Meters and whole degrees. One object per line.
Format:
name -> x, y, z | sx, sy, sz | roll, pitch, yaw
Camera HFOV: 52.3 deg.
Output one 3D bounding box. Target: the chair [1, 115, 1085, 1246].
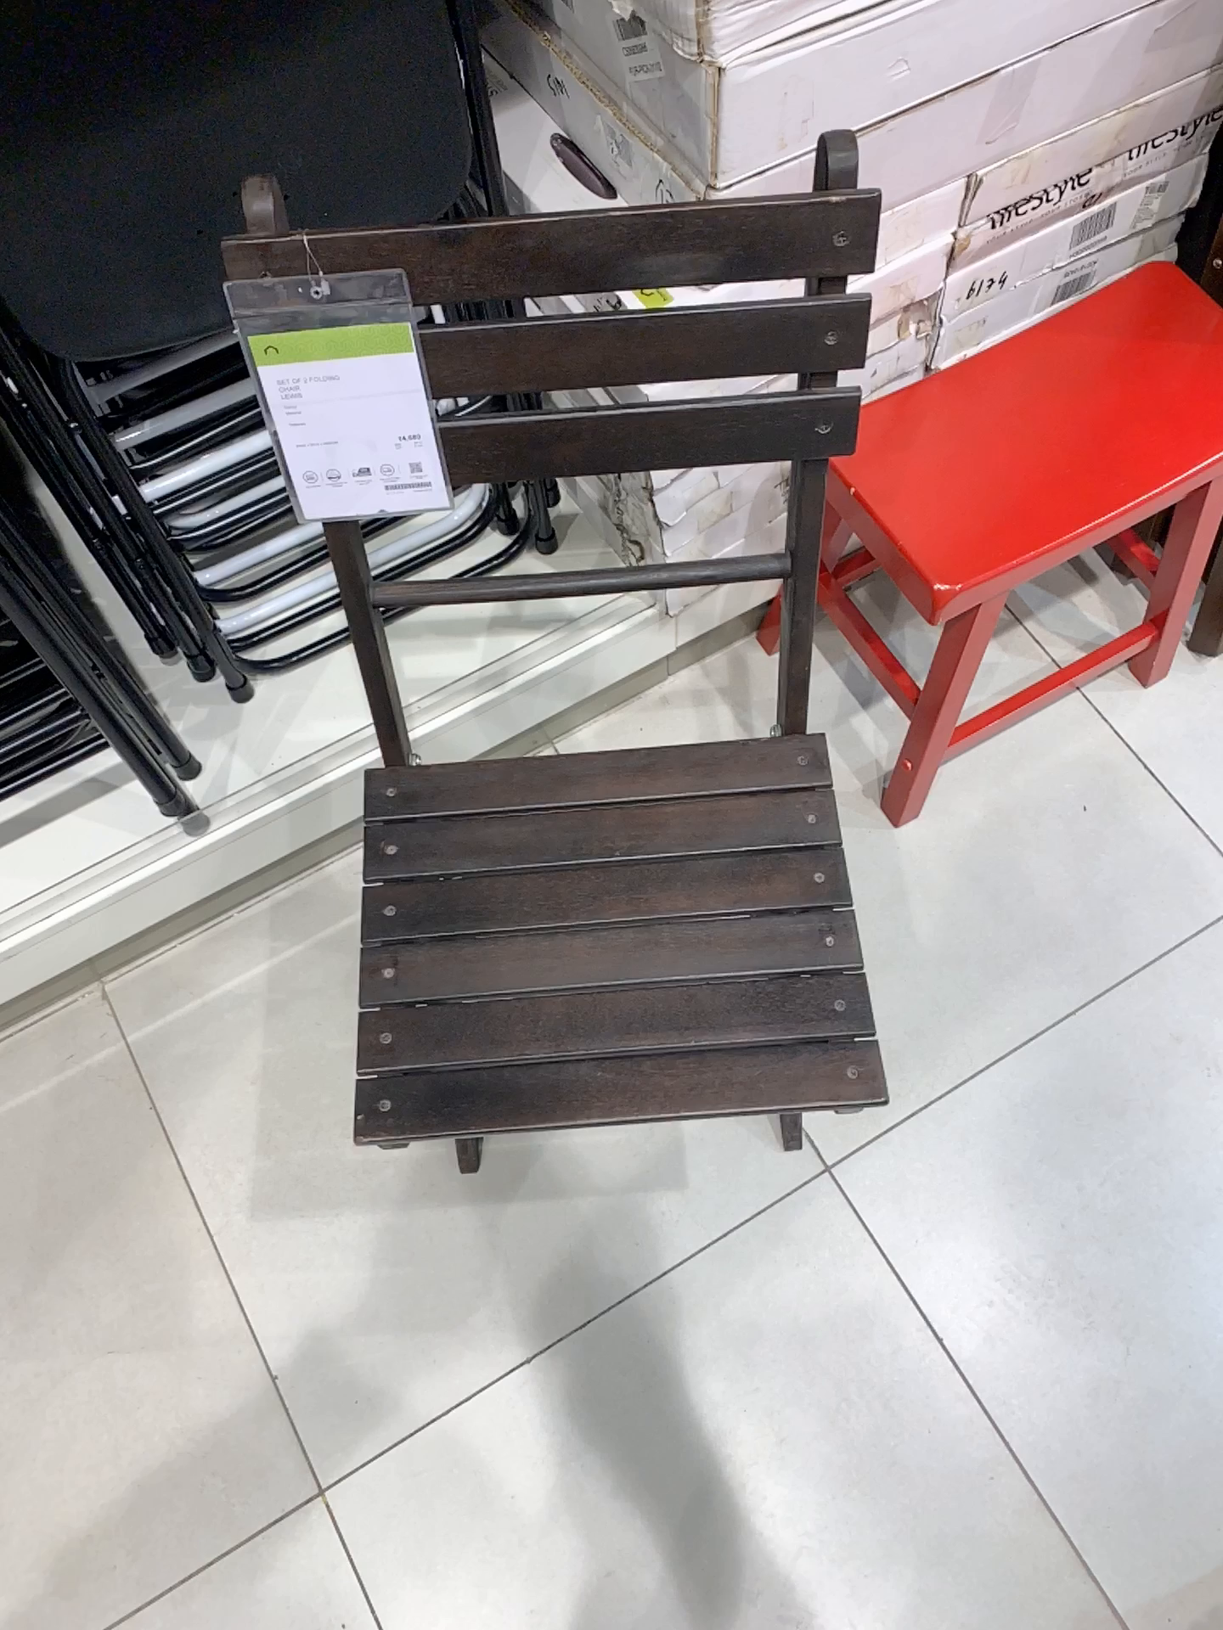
chair -> -0.028, 0.016, 0.945 | 0.420, 0.799, 0.480 | -4, 65, 0
